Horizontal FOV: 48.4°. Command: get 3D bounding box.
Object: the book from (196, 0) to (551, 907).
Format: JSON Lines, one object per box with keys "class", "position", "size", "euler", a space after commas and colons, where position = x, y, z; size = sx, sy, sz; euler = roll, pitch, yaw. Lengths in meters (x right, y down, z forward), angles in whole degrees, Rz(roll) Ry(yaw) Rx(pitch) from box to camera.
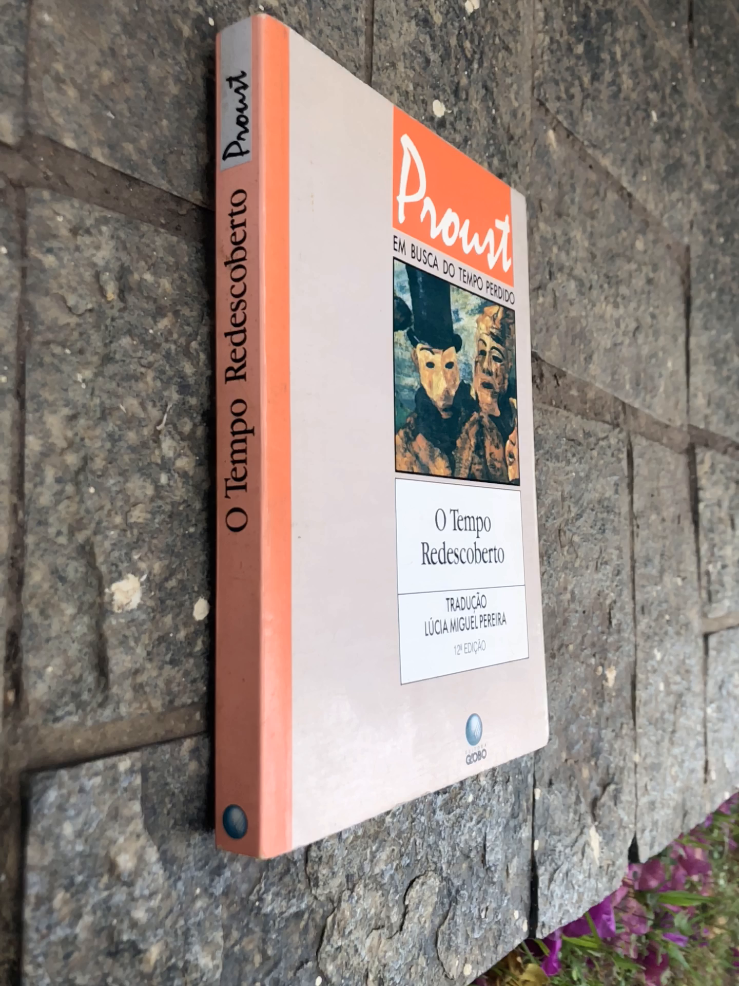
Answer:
{"class": "book", "position": [0.010, -0.009, 0.239], "size": [0.134, 0.023, 0.199], "euler": [4, 83, -53]}
